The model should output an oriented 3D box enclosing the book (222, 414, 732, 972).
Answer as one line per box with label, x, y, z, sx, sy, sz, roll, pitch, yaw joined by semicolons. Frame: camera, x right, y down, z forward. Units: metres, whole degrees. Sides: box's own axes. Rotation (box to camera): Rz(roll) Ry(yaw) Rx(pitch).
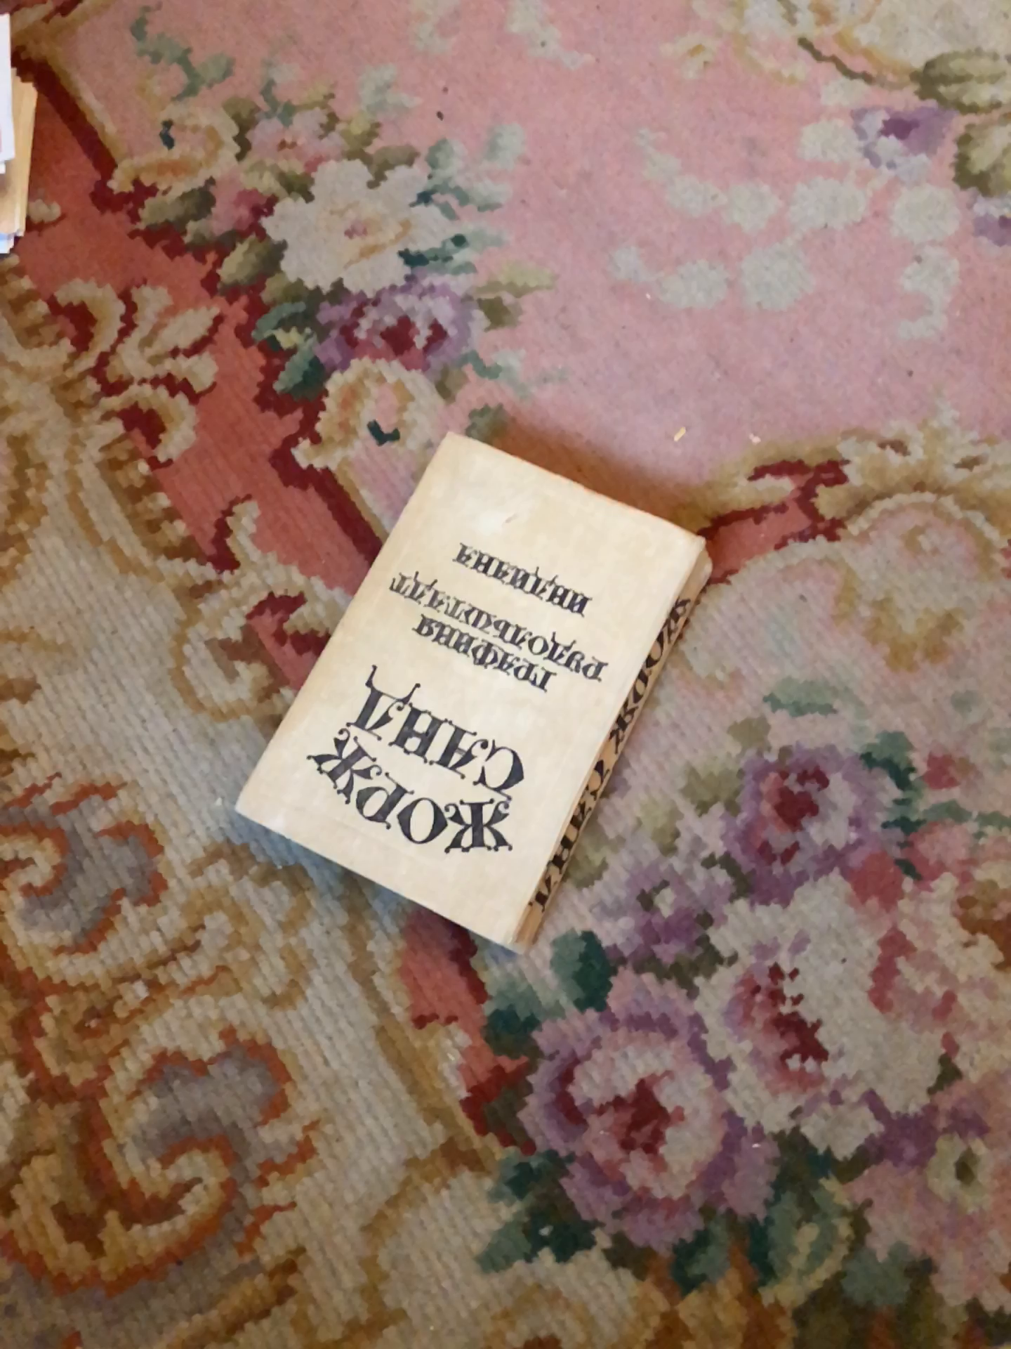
book;-0.008;0.005;0.537;0.150;0.057;0.220;25;75;11
